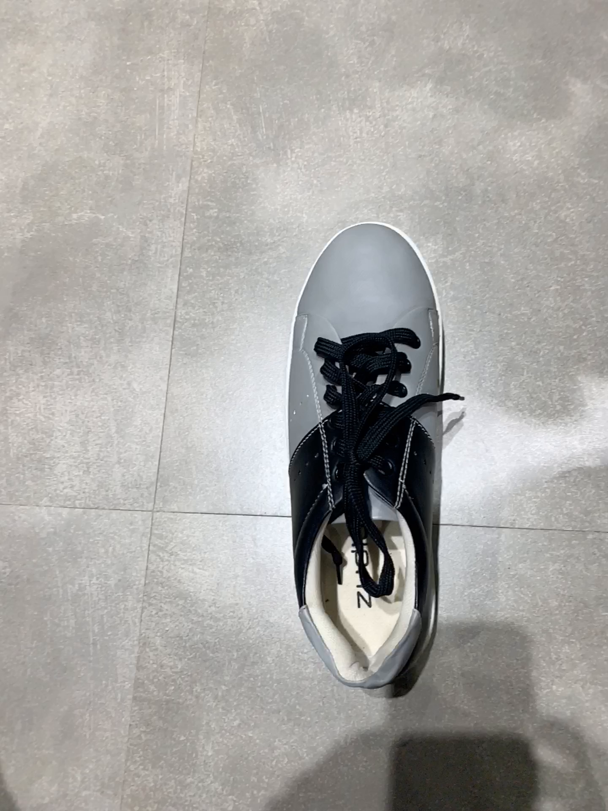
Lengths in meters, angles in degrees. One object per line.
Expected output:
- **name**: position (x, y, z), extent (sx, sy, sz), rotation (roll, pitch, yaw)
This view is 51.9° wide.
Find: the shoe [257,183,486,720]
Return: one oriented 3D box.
- **shoe**: position (0.041, 0.020, 0.354), extent (0.101, 0.093, 0.263), rotation (0, 75, 9)
